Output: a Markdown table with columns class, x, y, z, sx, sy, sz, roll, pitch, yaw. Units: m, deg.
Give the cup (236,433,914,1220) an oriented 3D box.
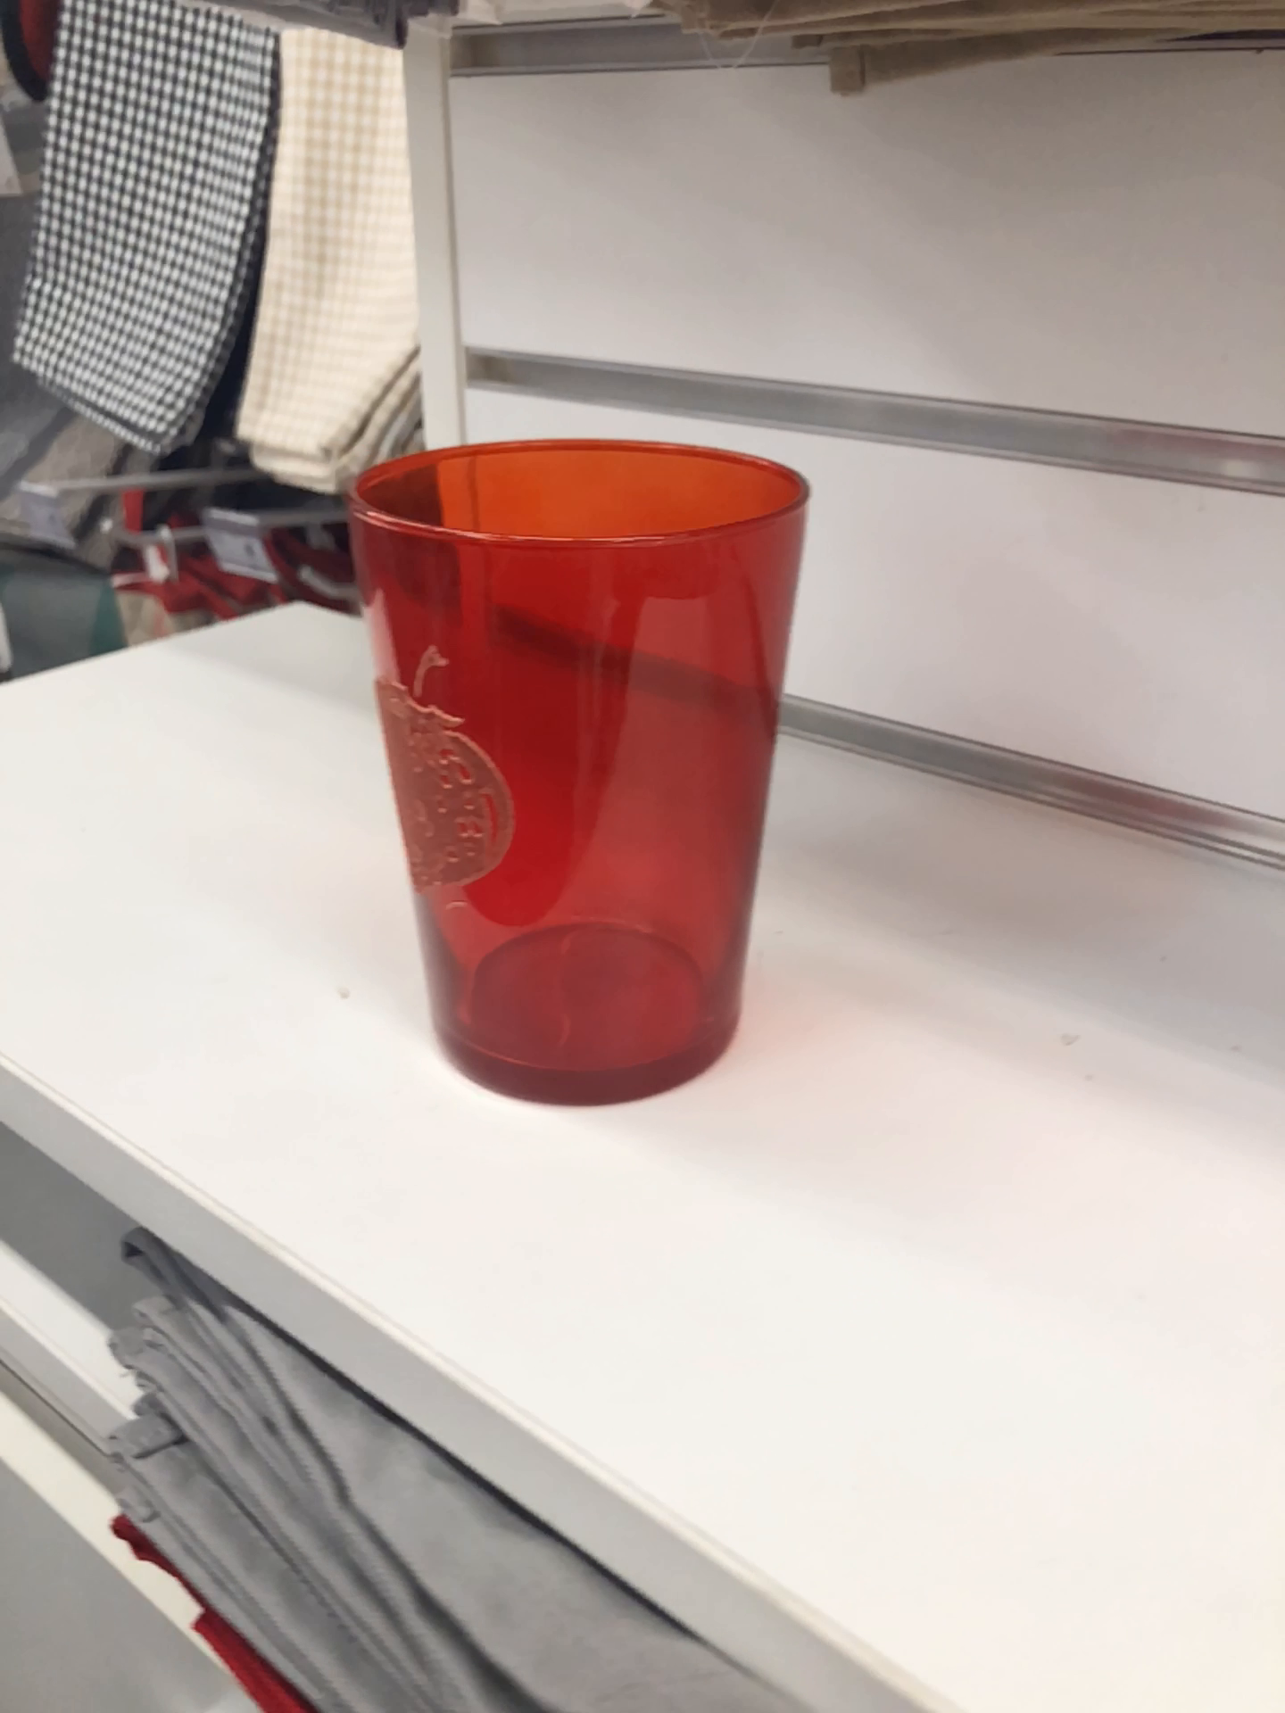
| class | x | y | z | sx | sy | sz | roll | pitch | yaw |
| --- | --- | --- | --- | --- | --- | --- | --- | --- | --- |
| cup | -0.012 | -0.015 | 0.296 | 0.091 | 0.121 | 0.091 | 1 | 25 | 0 |
